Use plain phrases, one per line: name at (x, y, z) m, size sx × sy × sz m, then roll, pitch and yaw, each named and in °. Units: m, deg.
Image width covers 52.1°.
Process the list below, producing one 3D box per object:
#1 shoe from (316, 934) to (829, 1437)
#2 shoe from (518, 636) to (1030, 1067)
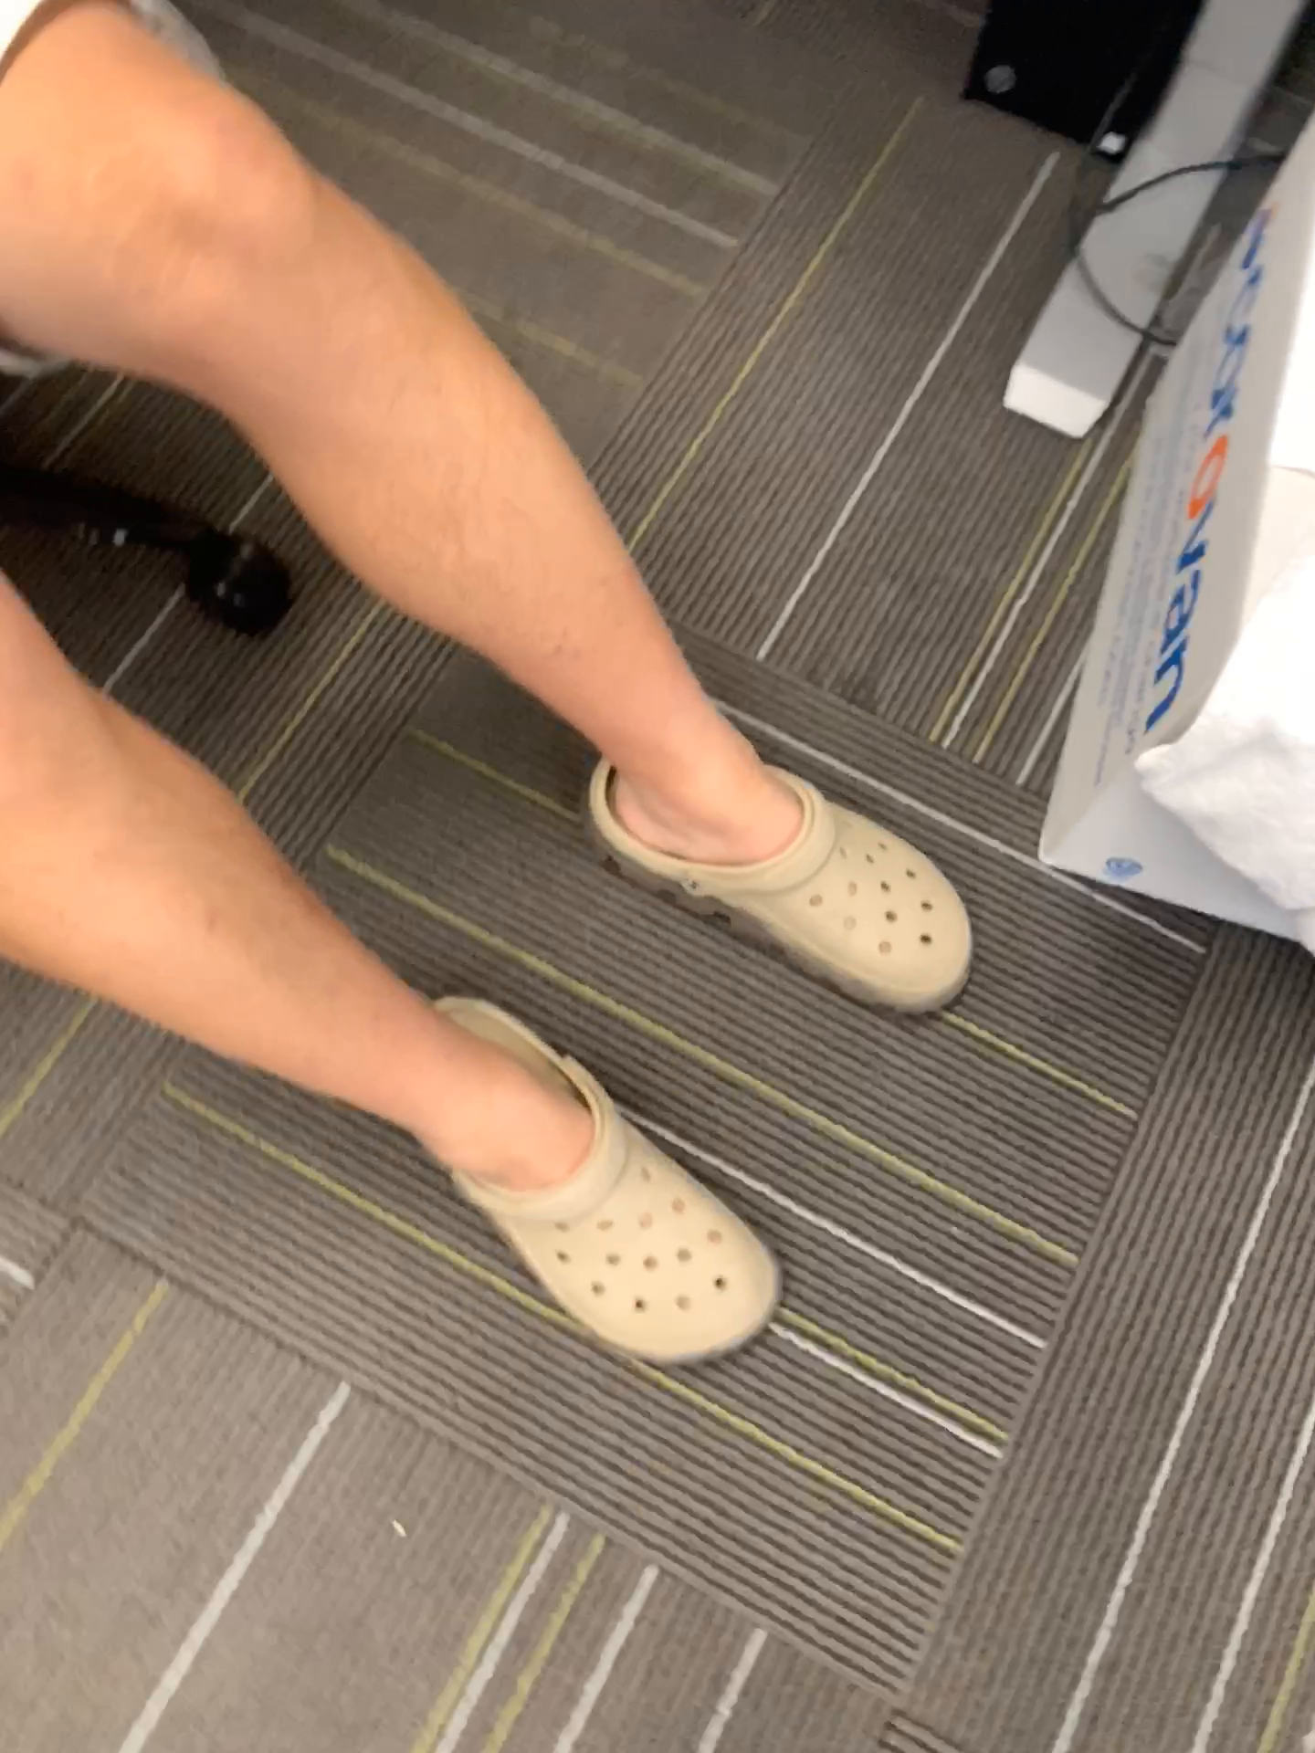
shoe at (-0.058, 0.201, 0.895) m, size 0.321 × 0.080 × 0.134 m, roll 40°, pitch 74°, yaw 11°
shoe at (0.078, -0.019, 0.966) m, size 0.330 × 0.080 × 0.140 m, roll 32°, pitch 72°, yaw 9°
